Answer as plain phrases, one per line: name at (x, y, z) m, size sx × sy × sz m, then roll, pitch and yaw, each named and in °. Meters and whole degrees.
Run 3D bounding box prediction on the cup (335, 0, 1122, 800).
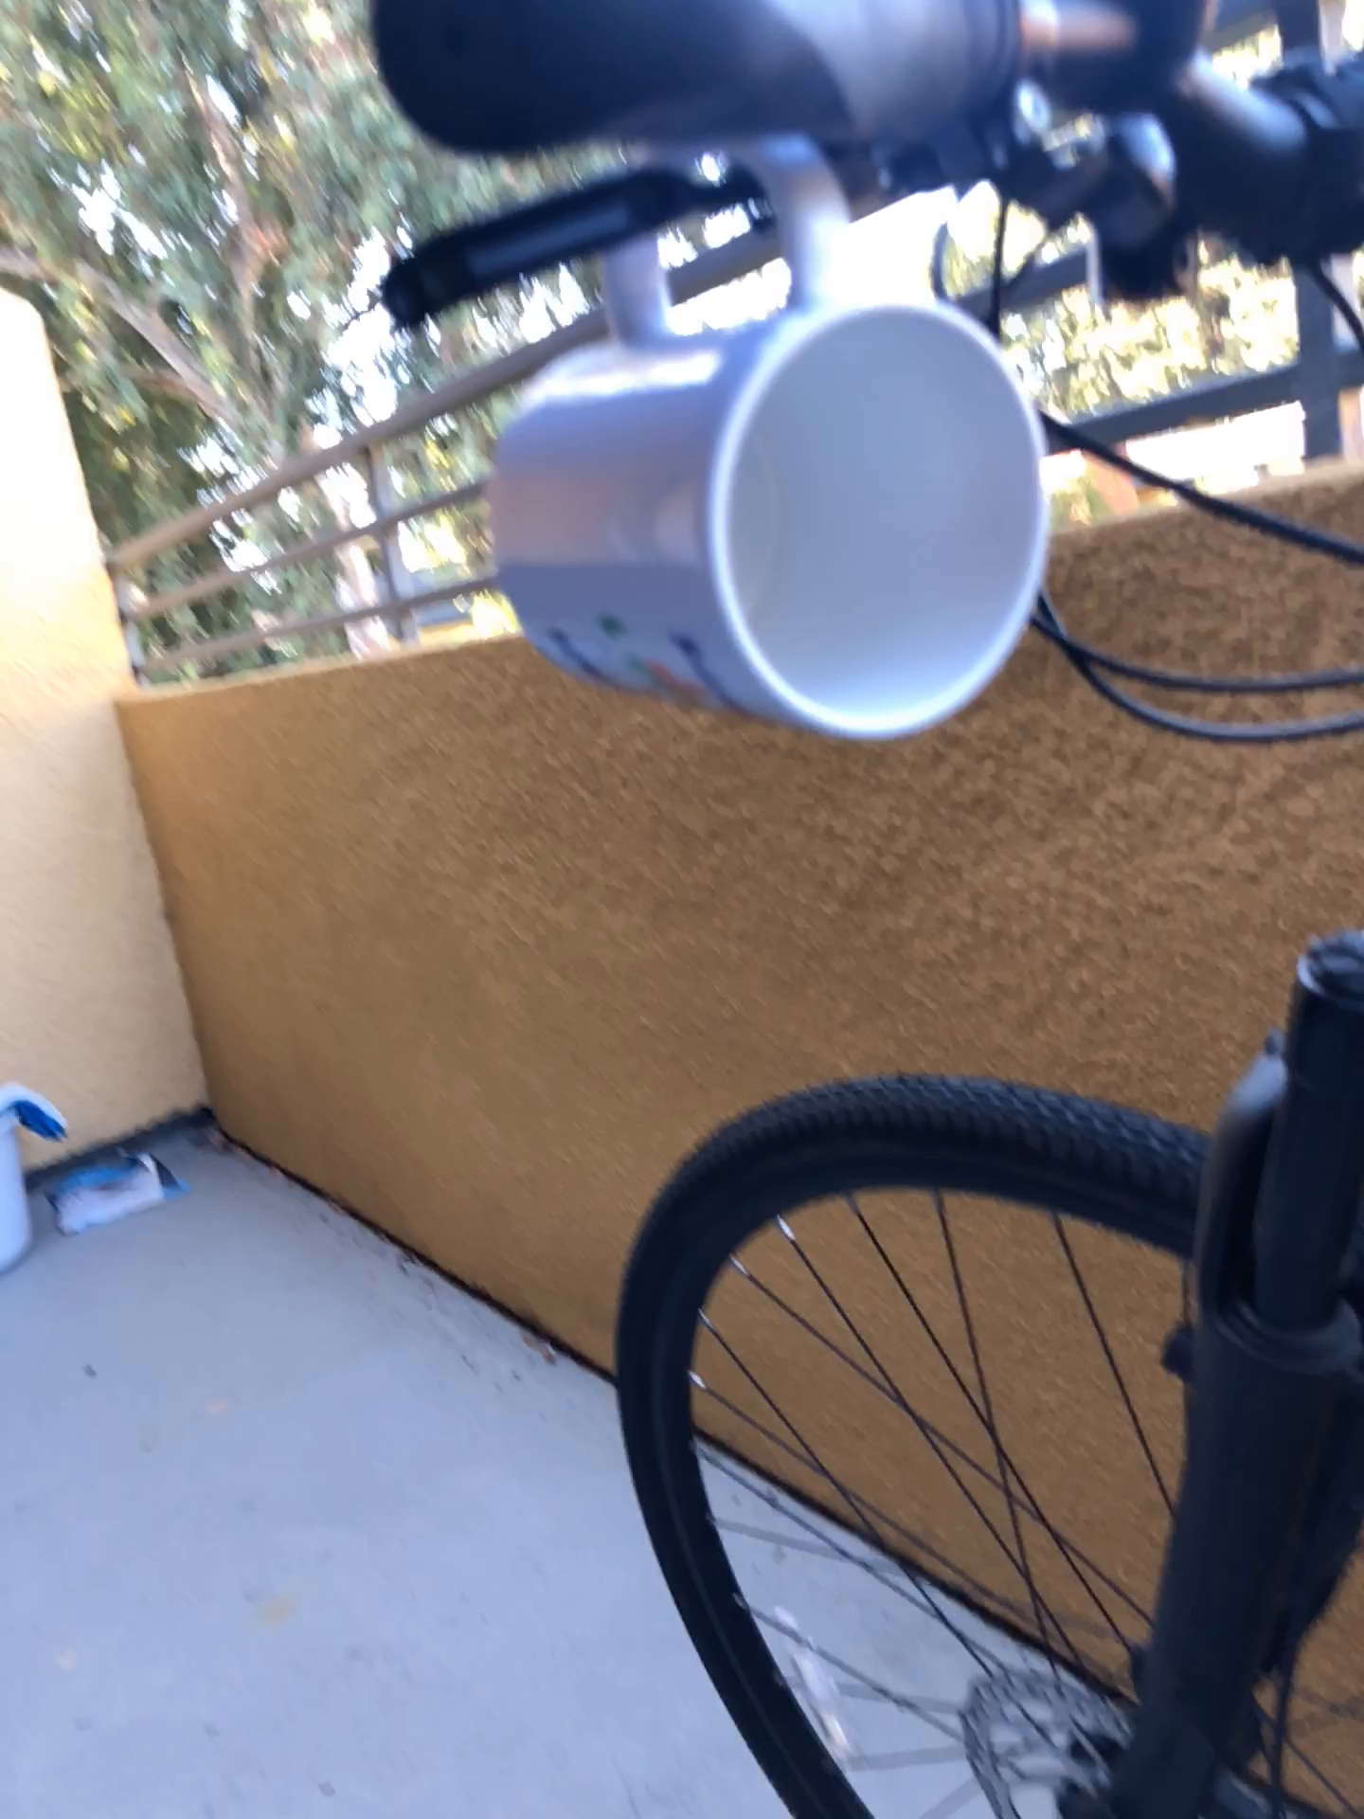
cup at (0.004, -0.098, 0.302) m, size 0.090 × 0.120 × 0.120 m, roll -20°, pitch 17°, yaw -21°
